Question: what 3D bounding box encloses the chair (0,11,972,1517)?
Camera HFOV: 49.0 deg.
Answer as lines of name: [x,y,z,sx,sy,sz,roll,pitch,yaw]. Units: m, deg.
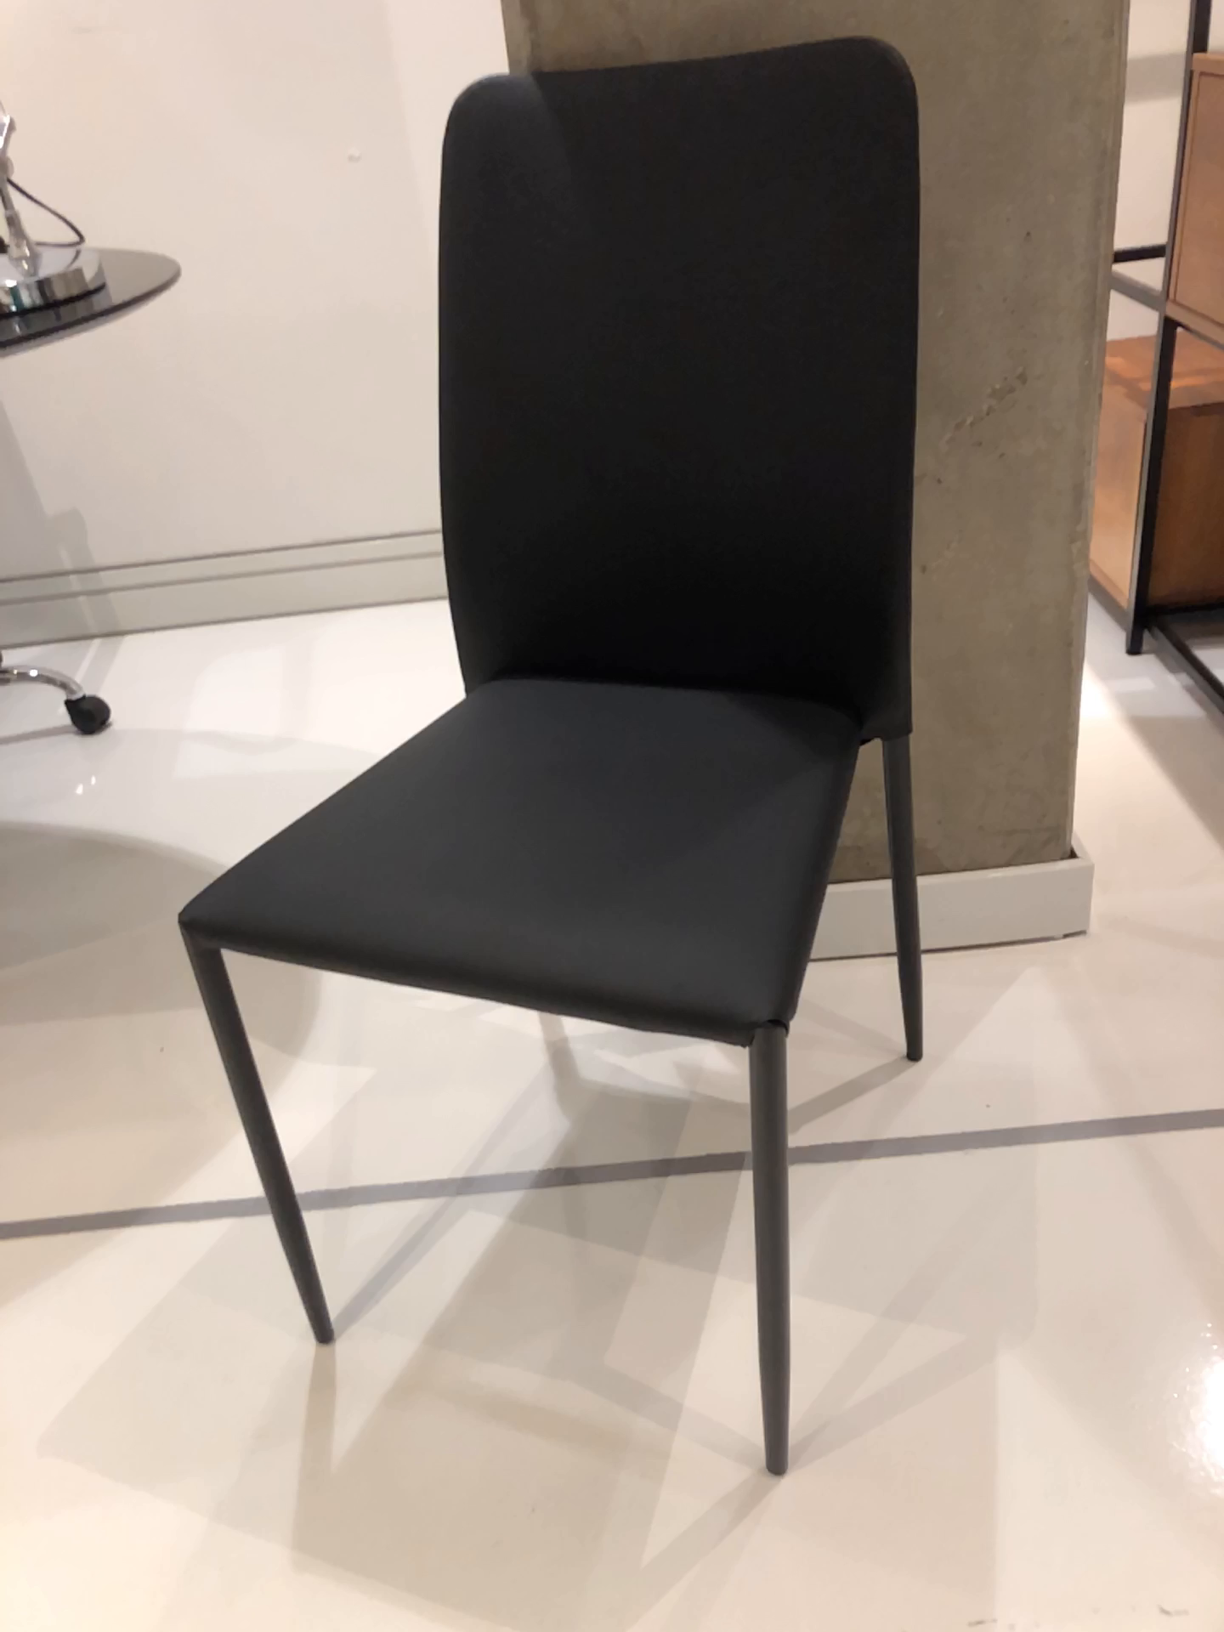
chair: [-0.029,-0.054,1.016,0.471,0.883,0.544,7,34,23]
